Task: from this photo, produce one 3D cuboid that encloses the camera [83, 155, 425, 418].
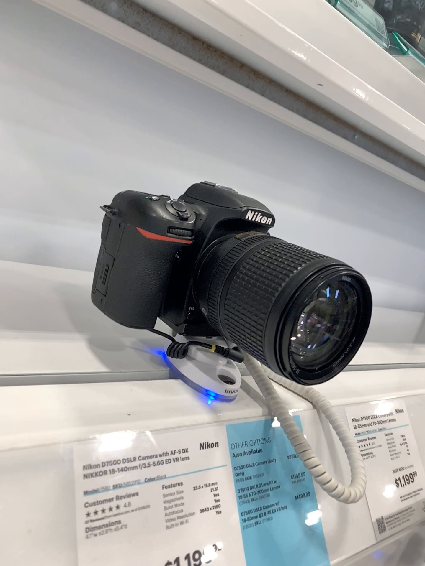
[{"bbox_3d":[0.020,-0.010,0.293,0.131,0.107,0.172,6,12,-42],"label":"camera"}]
